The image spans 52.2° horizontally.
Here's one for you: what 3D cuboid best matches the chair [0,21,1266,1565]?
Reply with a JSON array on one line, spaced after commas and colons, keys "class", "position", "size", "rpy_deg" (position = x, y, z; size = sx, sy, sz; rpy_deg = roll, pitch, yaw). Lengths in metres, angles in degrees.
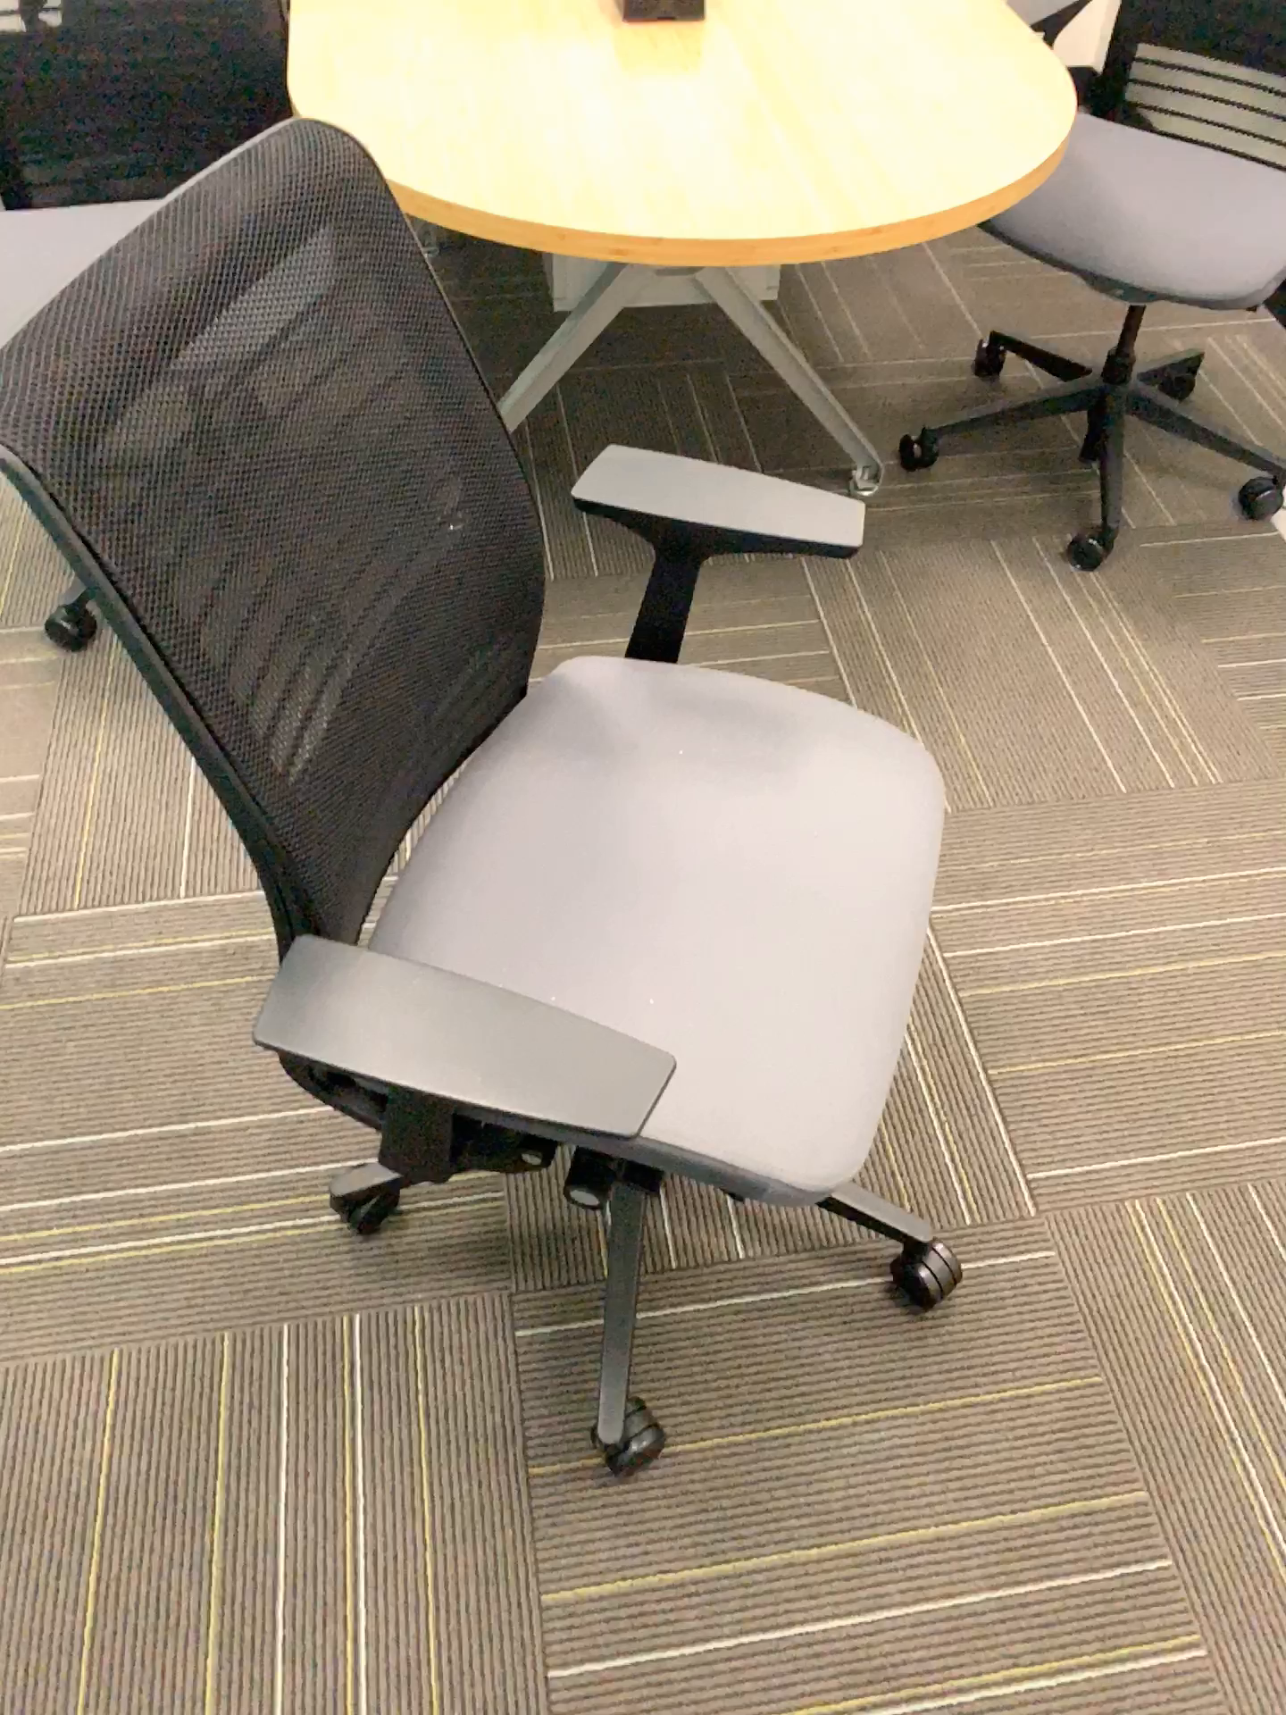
[{"class": "chair", "position": [-0.037, 0.012, 1.106], "size": [0.691, 0.995, 0.652], "rpy_deg": [16, 52, 12]}]
